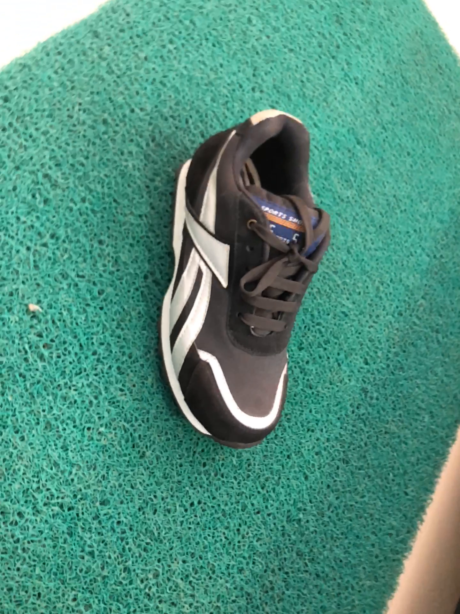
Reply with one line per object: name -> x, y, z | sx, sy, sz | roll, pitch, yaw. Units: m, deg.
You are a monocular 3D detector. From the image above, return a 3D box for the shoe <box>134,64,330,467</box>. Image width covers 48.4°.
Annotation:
shoe -> 0.005, -0.025, 0.424 | 0.101, 0.109, 0.290 | 12, 74, -31
